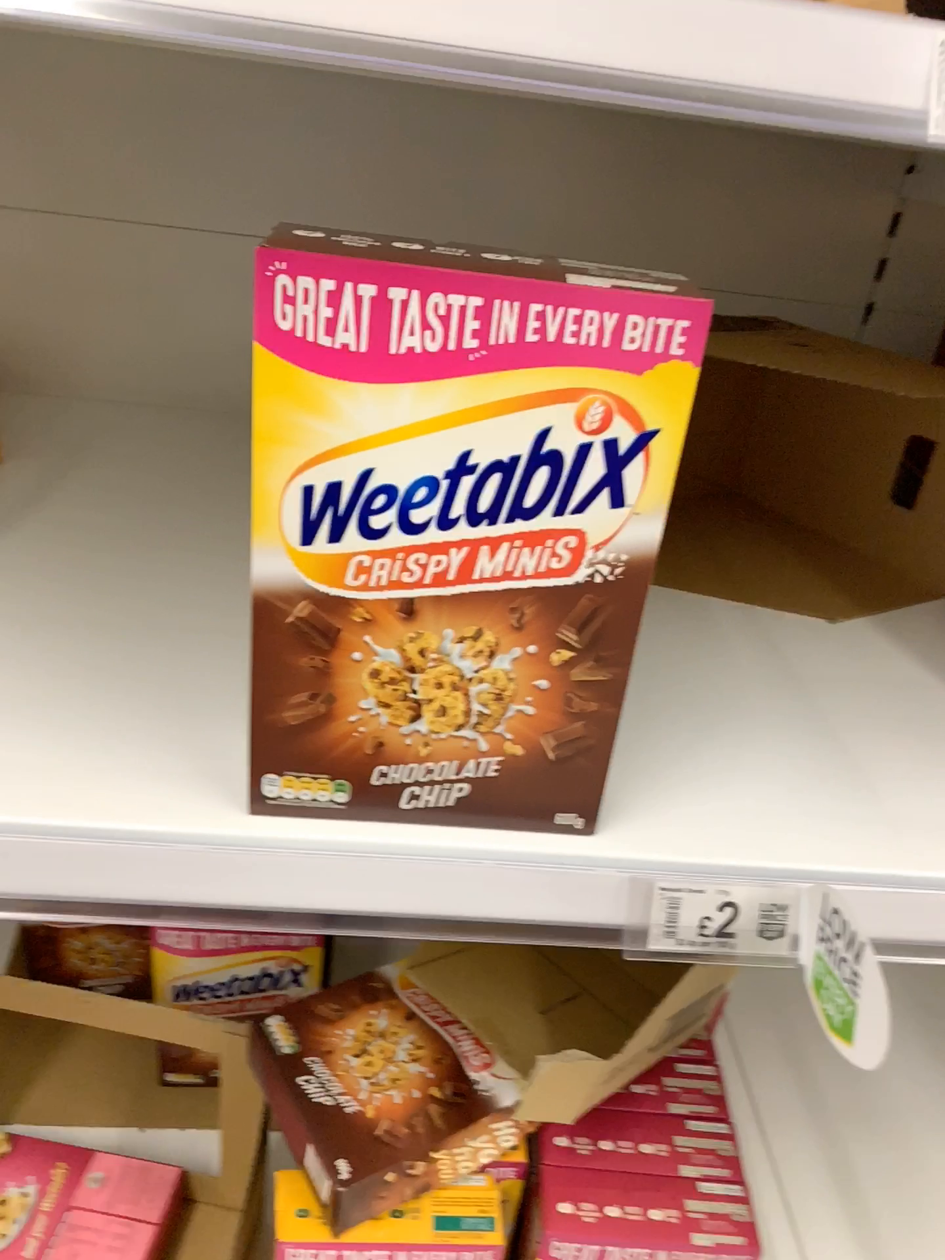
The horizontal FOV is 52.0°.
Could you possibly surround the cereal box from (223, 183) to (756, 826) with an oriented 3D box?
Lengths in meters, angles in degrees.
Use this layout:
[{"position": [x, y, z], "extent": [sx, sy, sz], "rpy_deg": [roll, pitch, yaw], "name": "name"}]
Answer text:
[{"position": [-0.009, -0.047, 0.475], "extent": [0.210, 0.287, 0.071], "rpy_deg": [5, 28, -5], "name": "cereal box"}]
